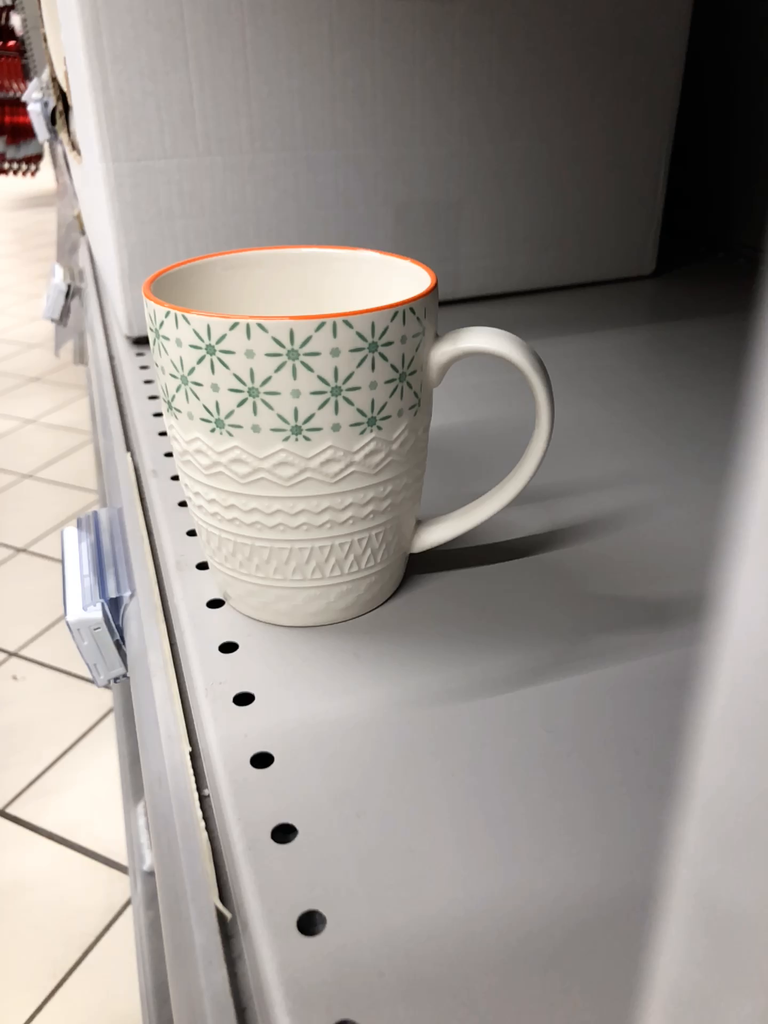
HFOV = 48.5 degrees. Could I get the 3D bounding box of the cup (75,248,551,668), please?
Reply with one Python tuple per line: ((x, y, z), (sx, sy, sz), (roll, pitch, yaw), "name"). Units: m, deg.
((-0.011, -0.025, 0.268), (0.117, 0.100, 0.093), (3, 25, 11), "cup")
